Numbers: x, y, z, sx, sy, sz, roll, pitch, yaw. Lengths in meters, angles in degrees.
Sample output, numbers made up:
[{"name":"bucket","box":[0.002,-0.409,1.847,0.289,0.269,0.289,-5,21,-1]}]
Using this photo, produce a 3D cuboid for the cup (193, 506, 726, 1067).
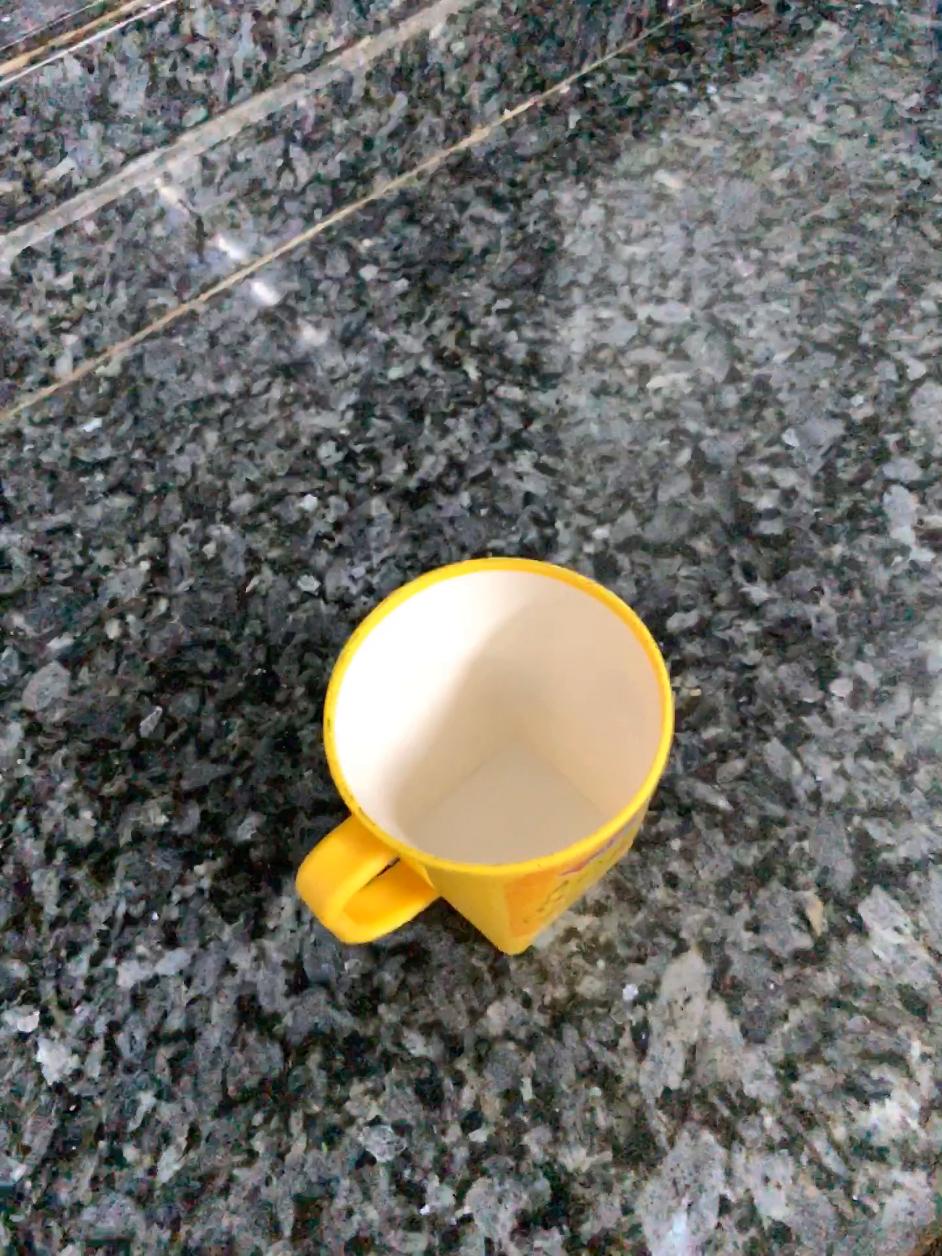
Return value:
[{"name":"cup","box":[0.002,0.048,0.267,0.100,0.109,0.070,-41,64,-17]}]
